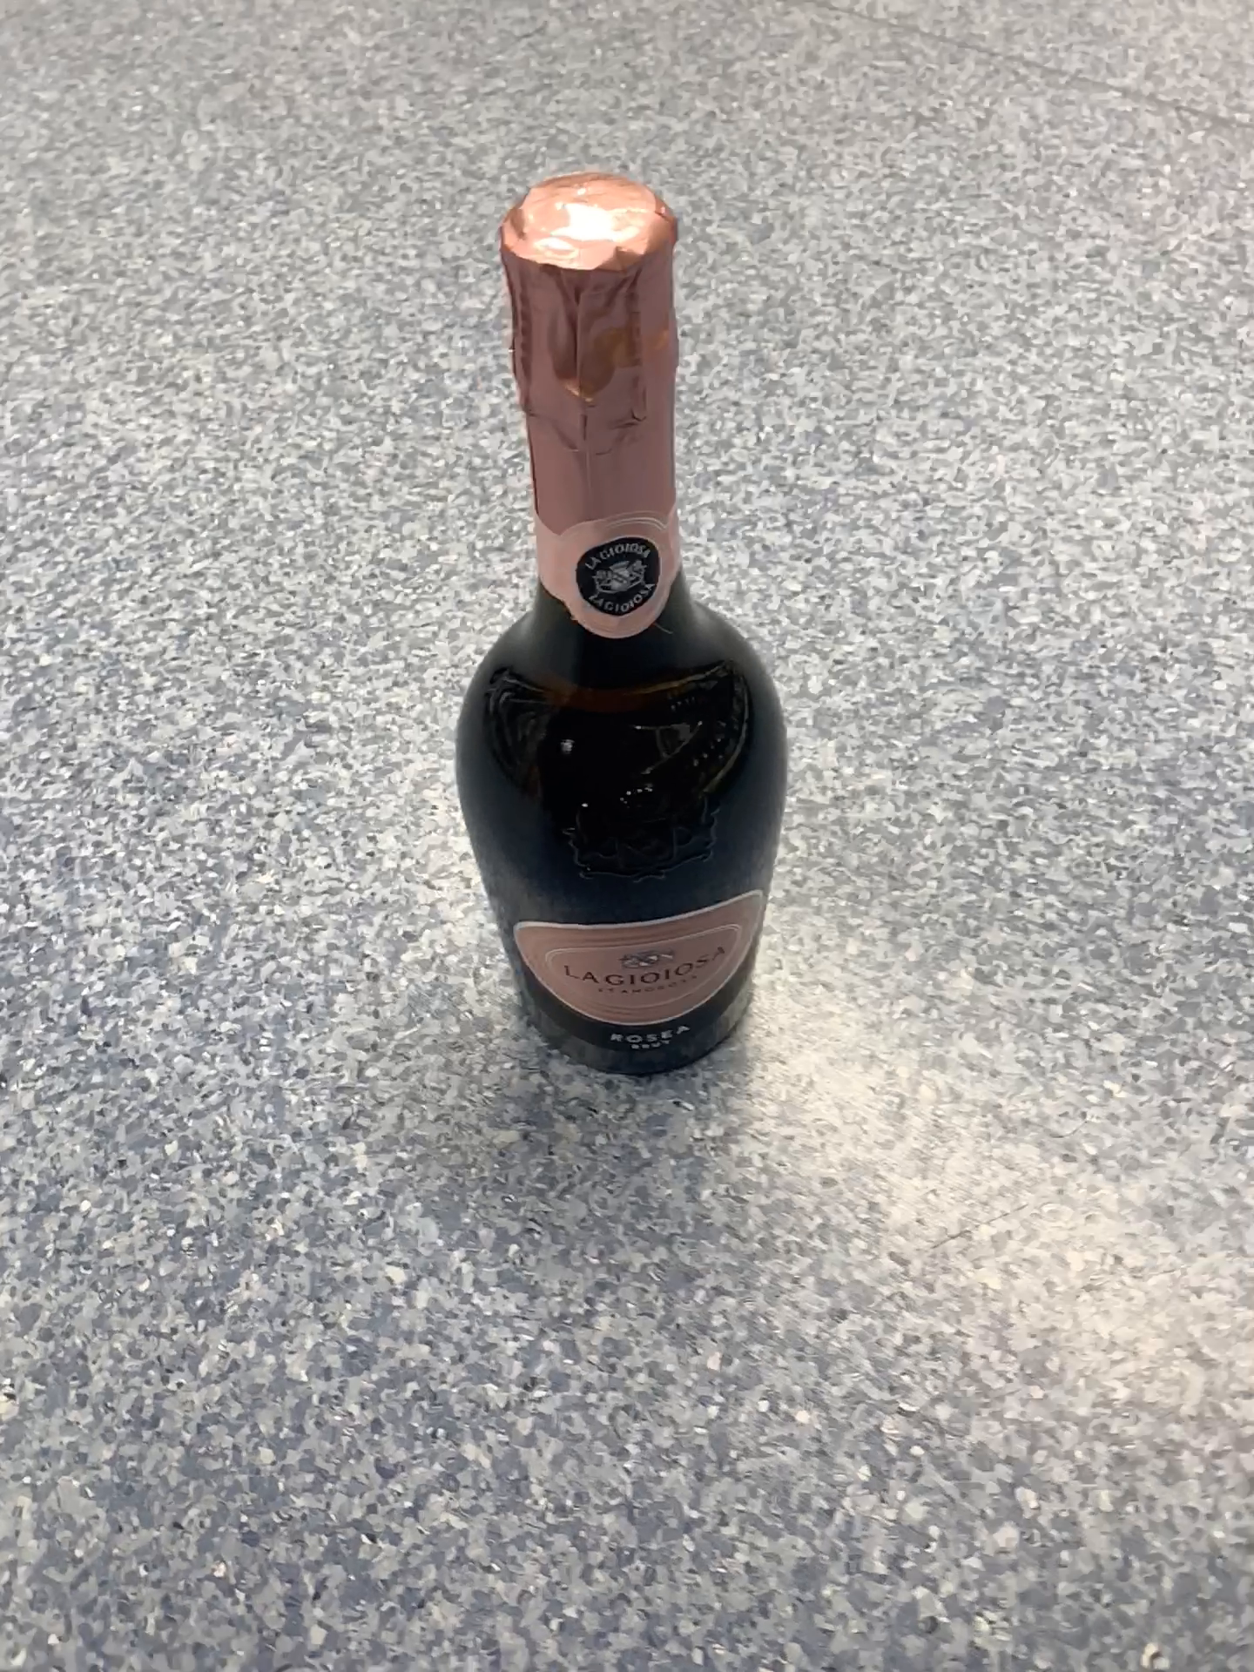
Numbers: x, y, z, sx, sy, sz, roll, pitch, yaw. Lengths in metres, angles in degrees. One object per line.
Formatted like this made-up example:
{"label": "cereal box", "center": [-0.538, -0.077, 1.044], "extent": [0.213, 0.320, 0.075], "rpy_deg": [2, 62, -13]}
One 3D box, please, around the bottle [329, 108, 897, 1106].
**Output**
{"label": "bottle", "center": [-0.002, -0.029, 0.342], "extent": [0.094, 0.269, 0.079], "rpy_deg": [-8, 53, -3]}
